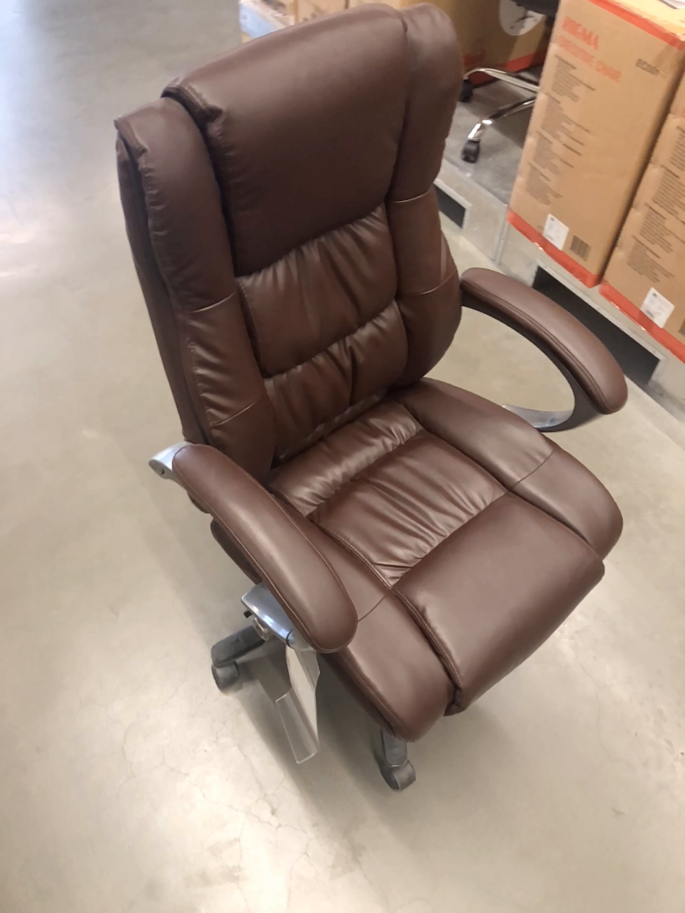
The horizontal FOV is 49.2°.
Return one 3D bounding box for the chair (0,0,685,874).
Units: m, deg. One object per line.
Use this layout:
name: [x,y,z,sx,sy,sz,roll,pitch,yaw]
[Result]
chair: [0.087,0.009,1.140,0.682,1.094,0.652,-33,60,-25]
